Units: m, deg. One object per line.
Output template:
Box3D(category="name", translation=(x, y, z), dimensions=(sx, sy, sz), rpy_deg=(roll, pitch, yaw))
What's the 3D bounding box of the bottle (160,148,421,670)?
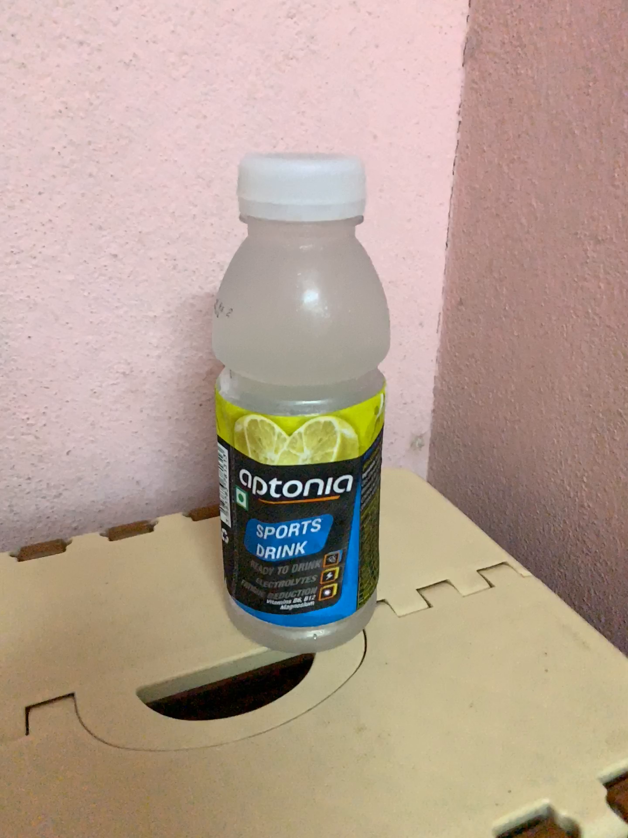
Box3D(category="bottle", translation=(-0.005, -0.001, 0.238), dimensions=(0.070, 0.179, 0.060), rpy_deg=(2, 25, 4))
